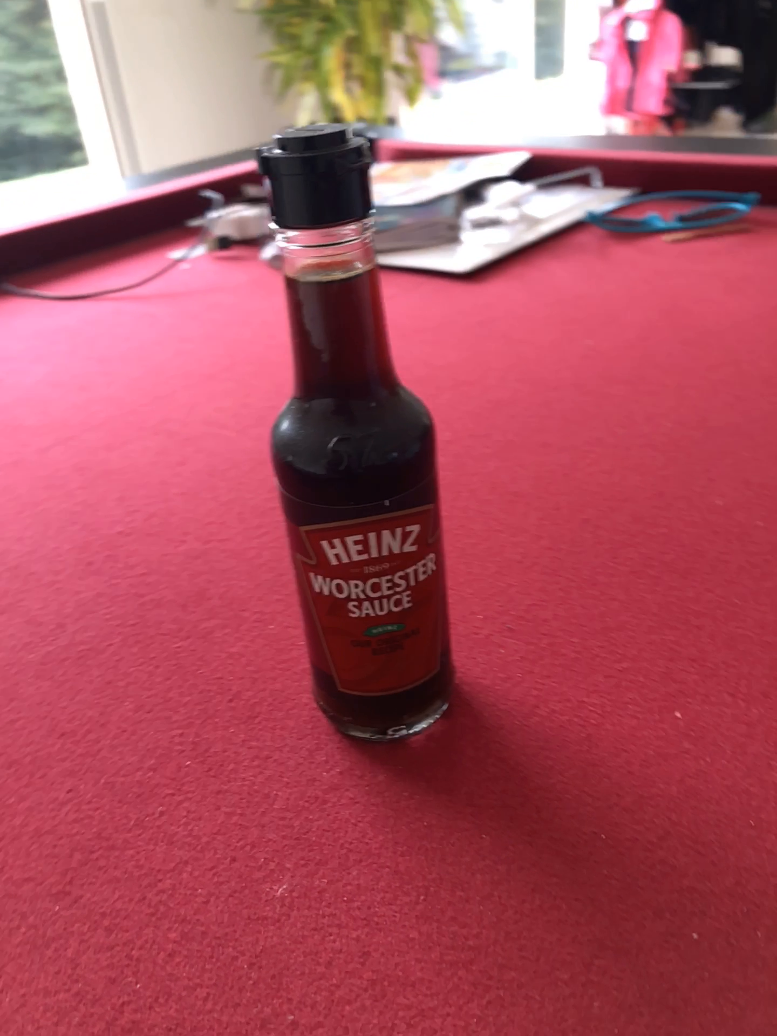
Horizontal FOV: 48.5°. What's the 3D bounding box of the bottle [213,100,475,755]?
[{"bbox_3d":[-0.008,-0.018,0.251,0.050,0.179,0.050,-4,31,2],"label":"bottle"}]
